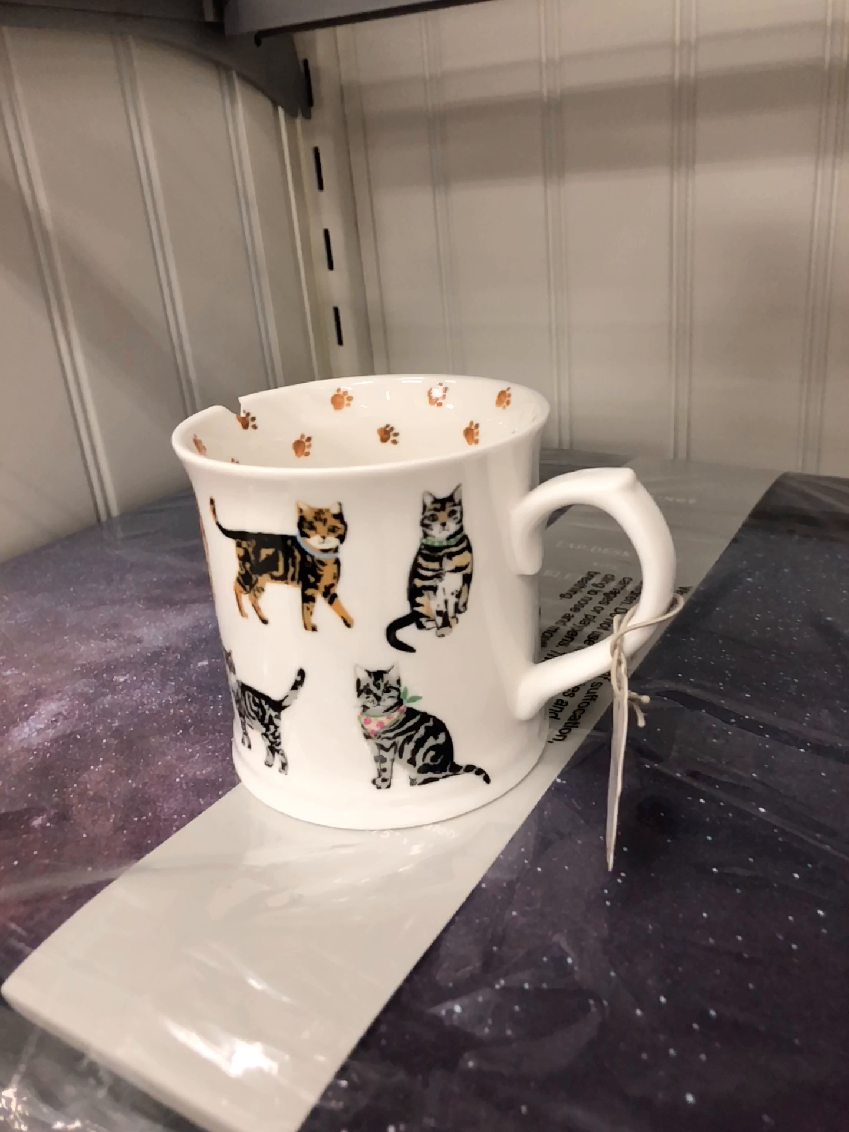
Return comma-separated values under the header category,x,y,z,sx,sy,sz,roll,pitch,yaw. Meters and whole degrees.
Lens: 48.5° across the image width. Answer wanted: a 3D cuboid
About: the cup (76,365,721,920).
category,x,y,z,sx,sy,sz,roll,pitch,yaw
cup,0.000,0.006,0.261,0.137,0.099,0.096,8,27,28
